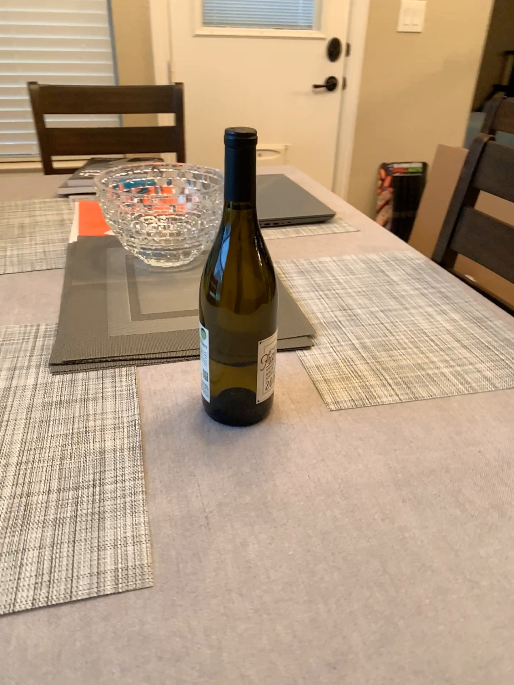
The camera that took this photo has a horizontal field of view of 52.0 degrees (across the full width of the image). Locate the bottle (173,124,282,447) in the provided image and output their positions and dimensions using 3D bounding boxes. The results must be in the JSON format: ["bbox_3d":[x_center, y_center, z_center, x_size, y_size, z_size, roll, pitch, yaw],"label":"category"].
[{"bbox_3d":[-0.024,-0.043,0.497,0.080,0.288,0.090,2,30,1],"label":"bottle"}]
